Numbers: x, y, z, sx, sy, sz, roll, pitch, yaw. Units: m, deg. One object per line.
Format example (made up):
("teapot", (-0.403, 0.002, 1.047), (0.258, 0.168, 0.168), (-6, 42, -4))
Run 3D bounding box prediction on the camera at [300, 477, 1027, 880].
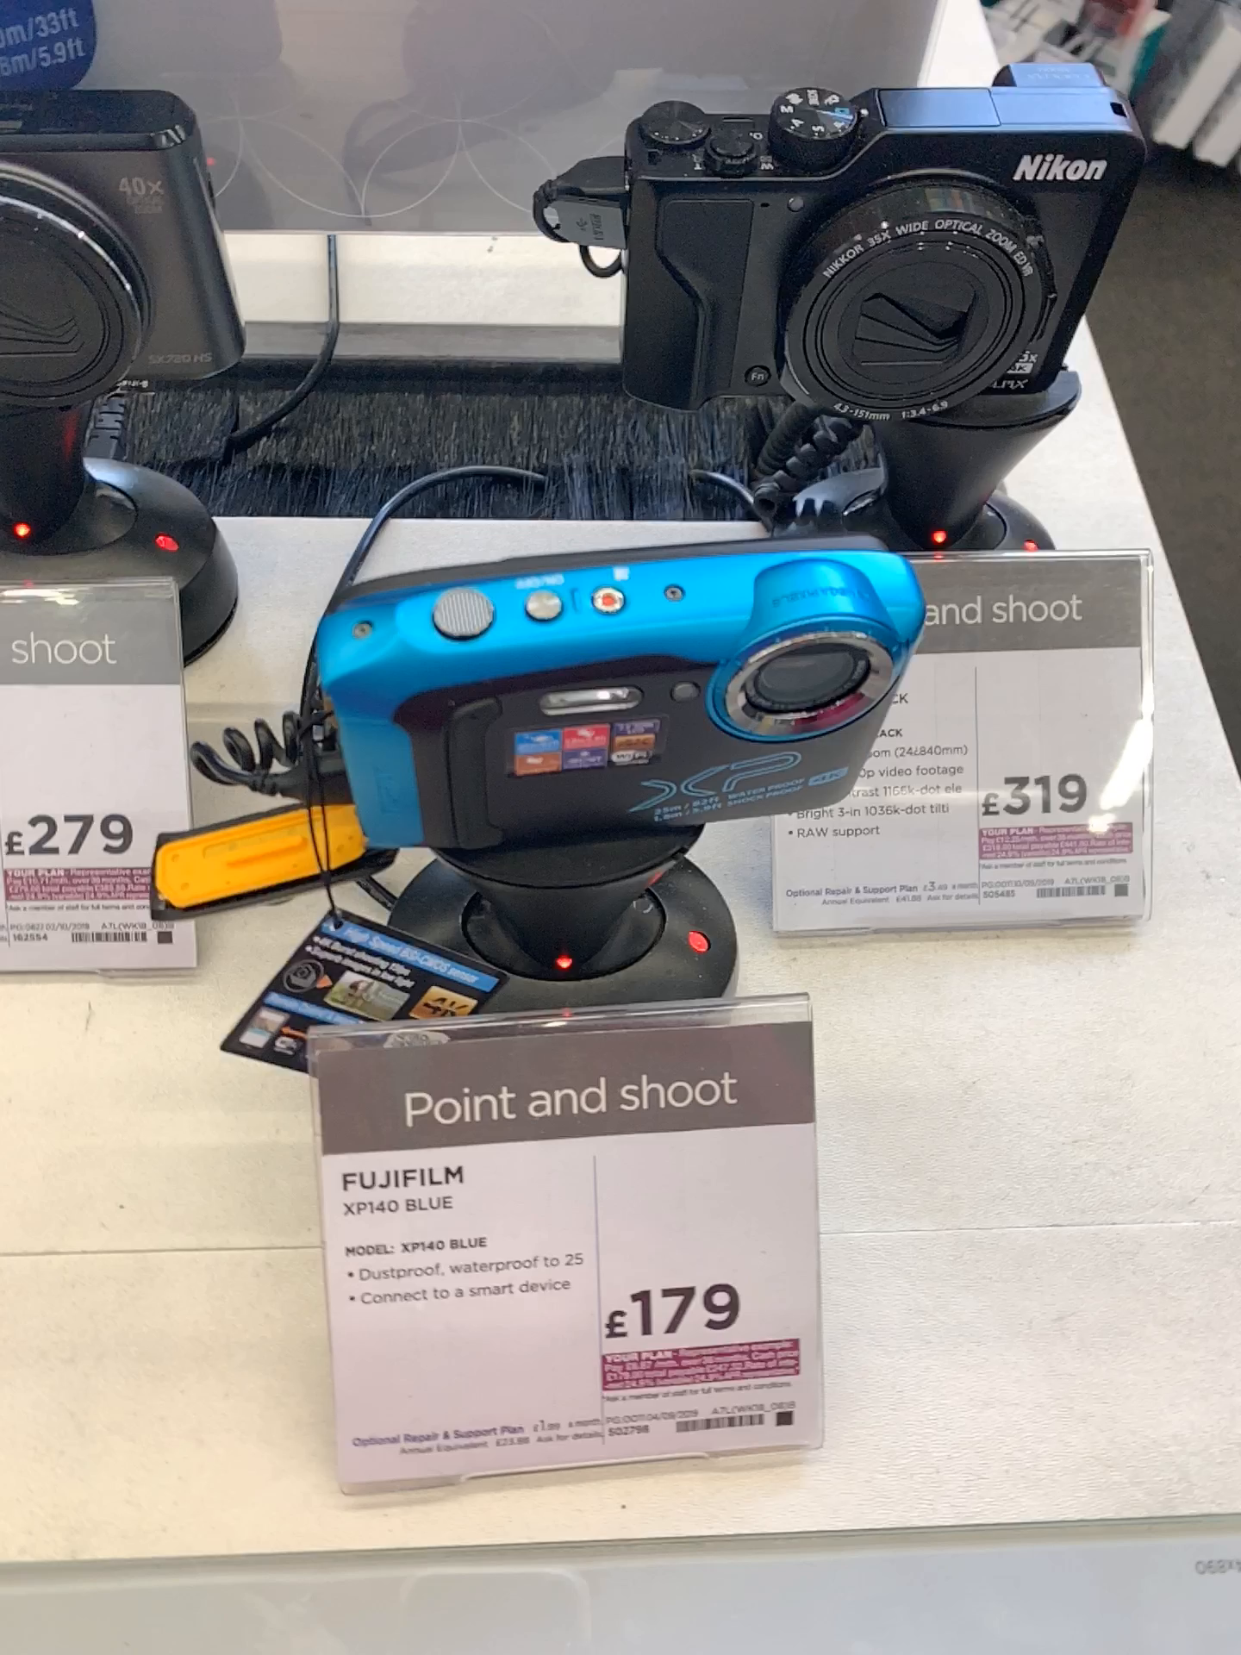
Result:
("camera", (0.005, -0.024, 0.224), (0.110, 0.060, 0.030), (-6, 60, -7))
